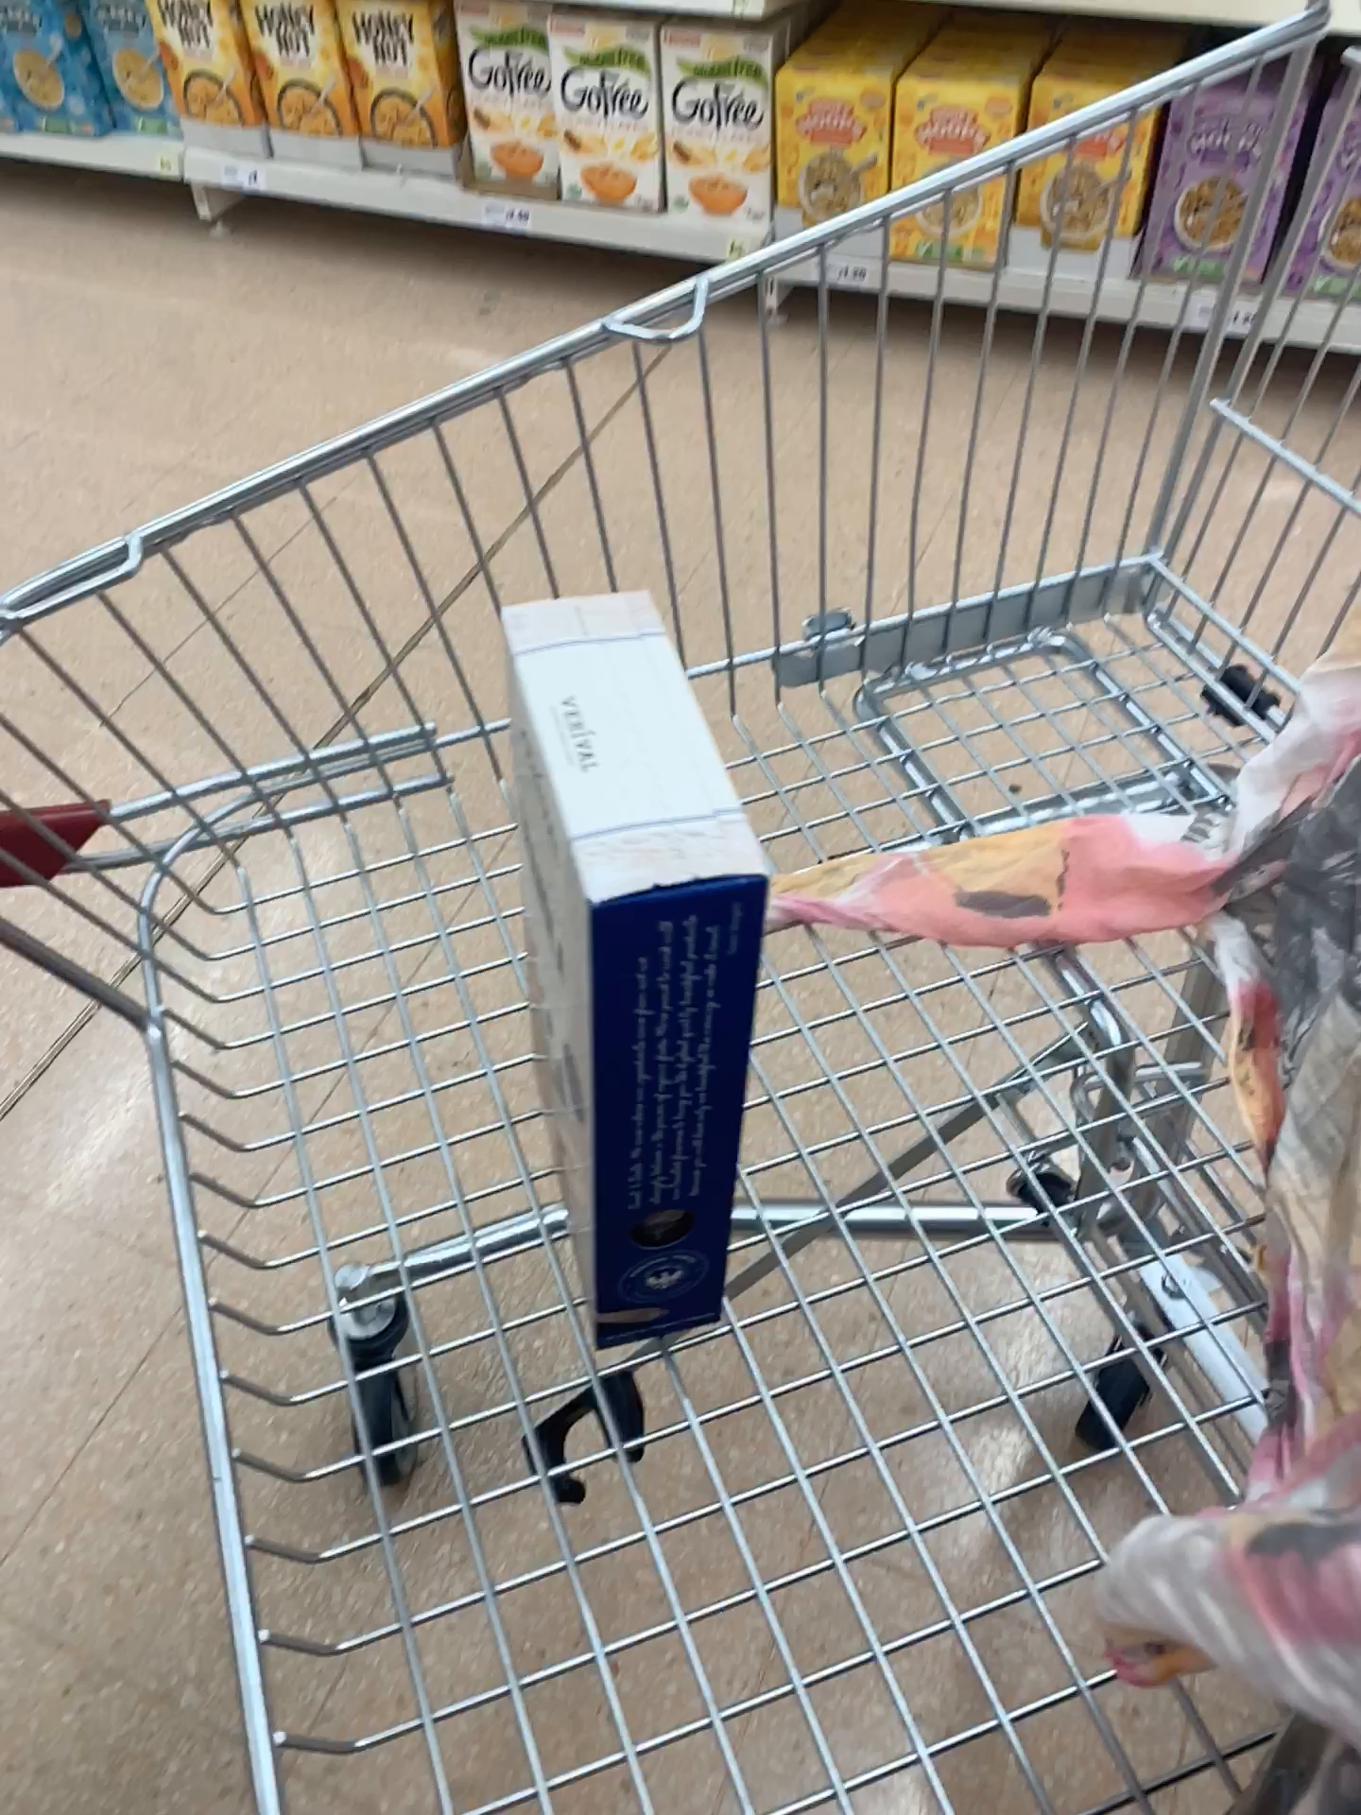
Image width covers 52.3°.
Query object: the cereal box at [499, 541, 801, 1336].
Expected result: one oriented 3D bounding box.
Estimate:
[{"bbox_3d":[-0.017,0.019,0.460,0.050,0.228,0.141,-9,48,-11],"label":"cereal box"}]
